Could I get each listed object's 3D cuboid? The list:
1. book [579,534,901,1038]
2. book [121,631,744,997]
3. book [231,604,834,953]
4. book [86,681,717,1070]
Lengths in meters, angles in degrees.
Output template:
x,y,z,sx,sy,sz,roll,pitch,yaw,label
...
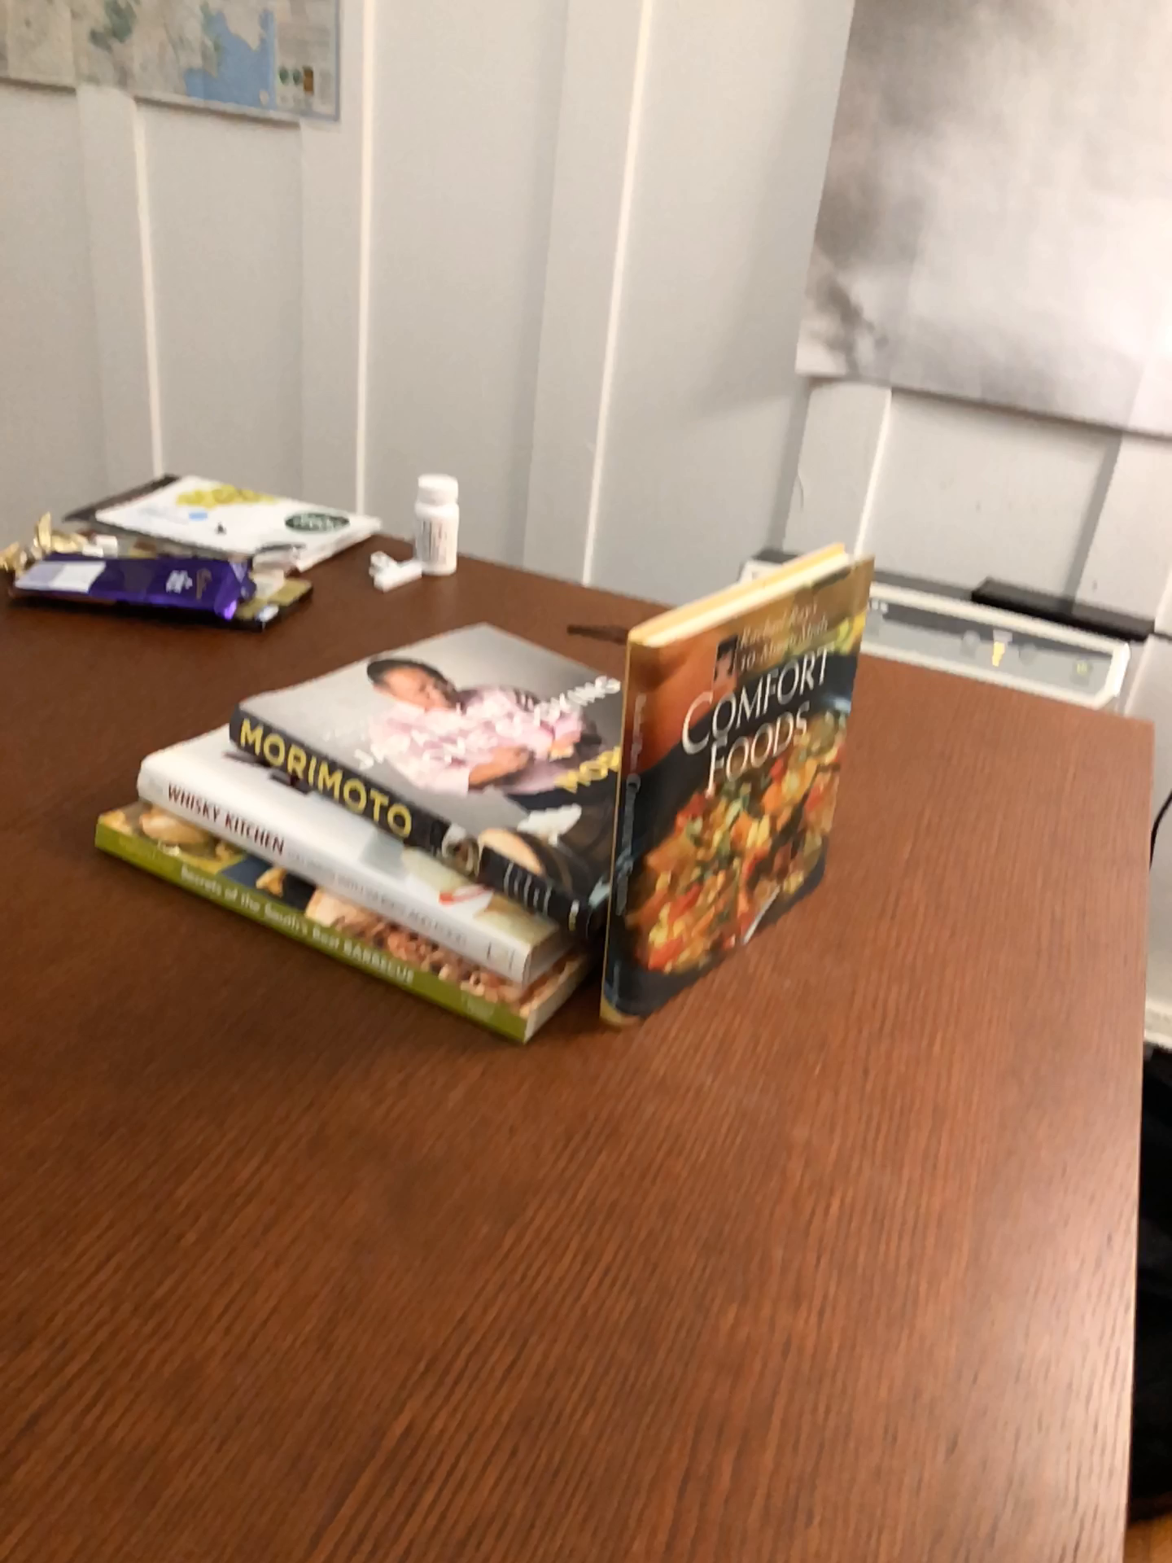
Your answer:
x,y,z,sx,sy,sz,roll,pitch,yaw,label
0.083,-0.005,0.668,0.030,0.209,0.211,23,31,32,book
-0.083,0.000,0.748,0.280,0.030,0.221,22,33,24,book
-0.030,-0.021,0.764,0.280,0.030,0.221,26,34,28,book
-0.098,0.034,0.740,0.280,0.030,0.221,21,32,22,book
